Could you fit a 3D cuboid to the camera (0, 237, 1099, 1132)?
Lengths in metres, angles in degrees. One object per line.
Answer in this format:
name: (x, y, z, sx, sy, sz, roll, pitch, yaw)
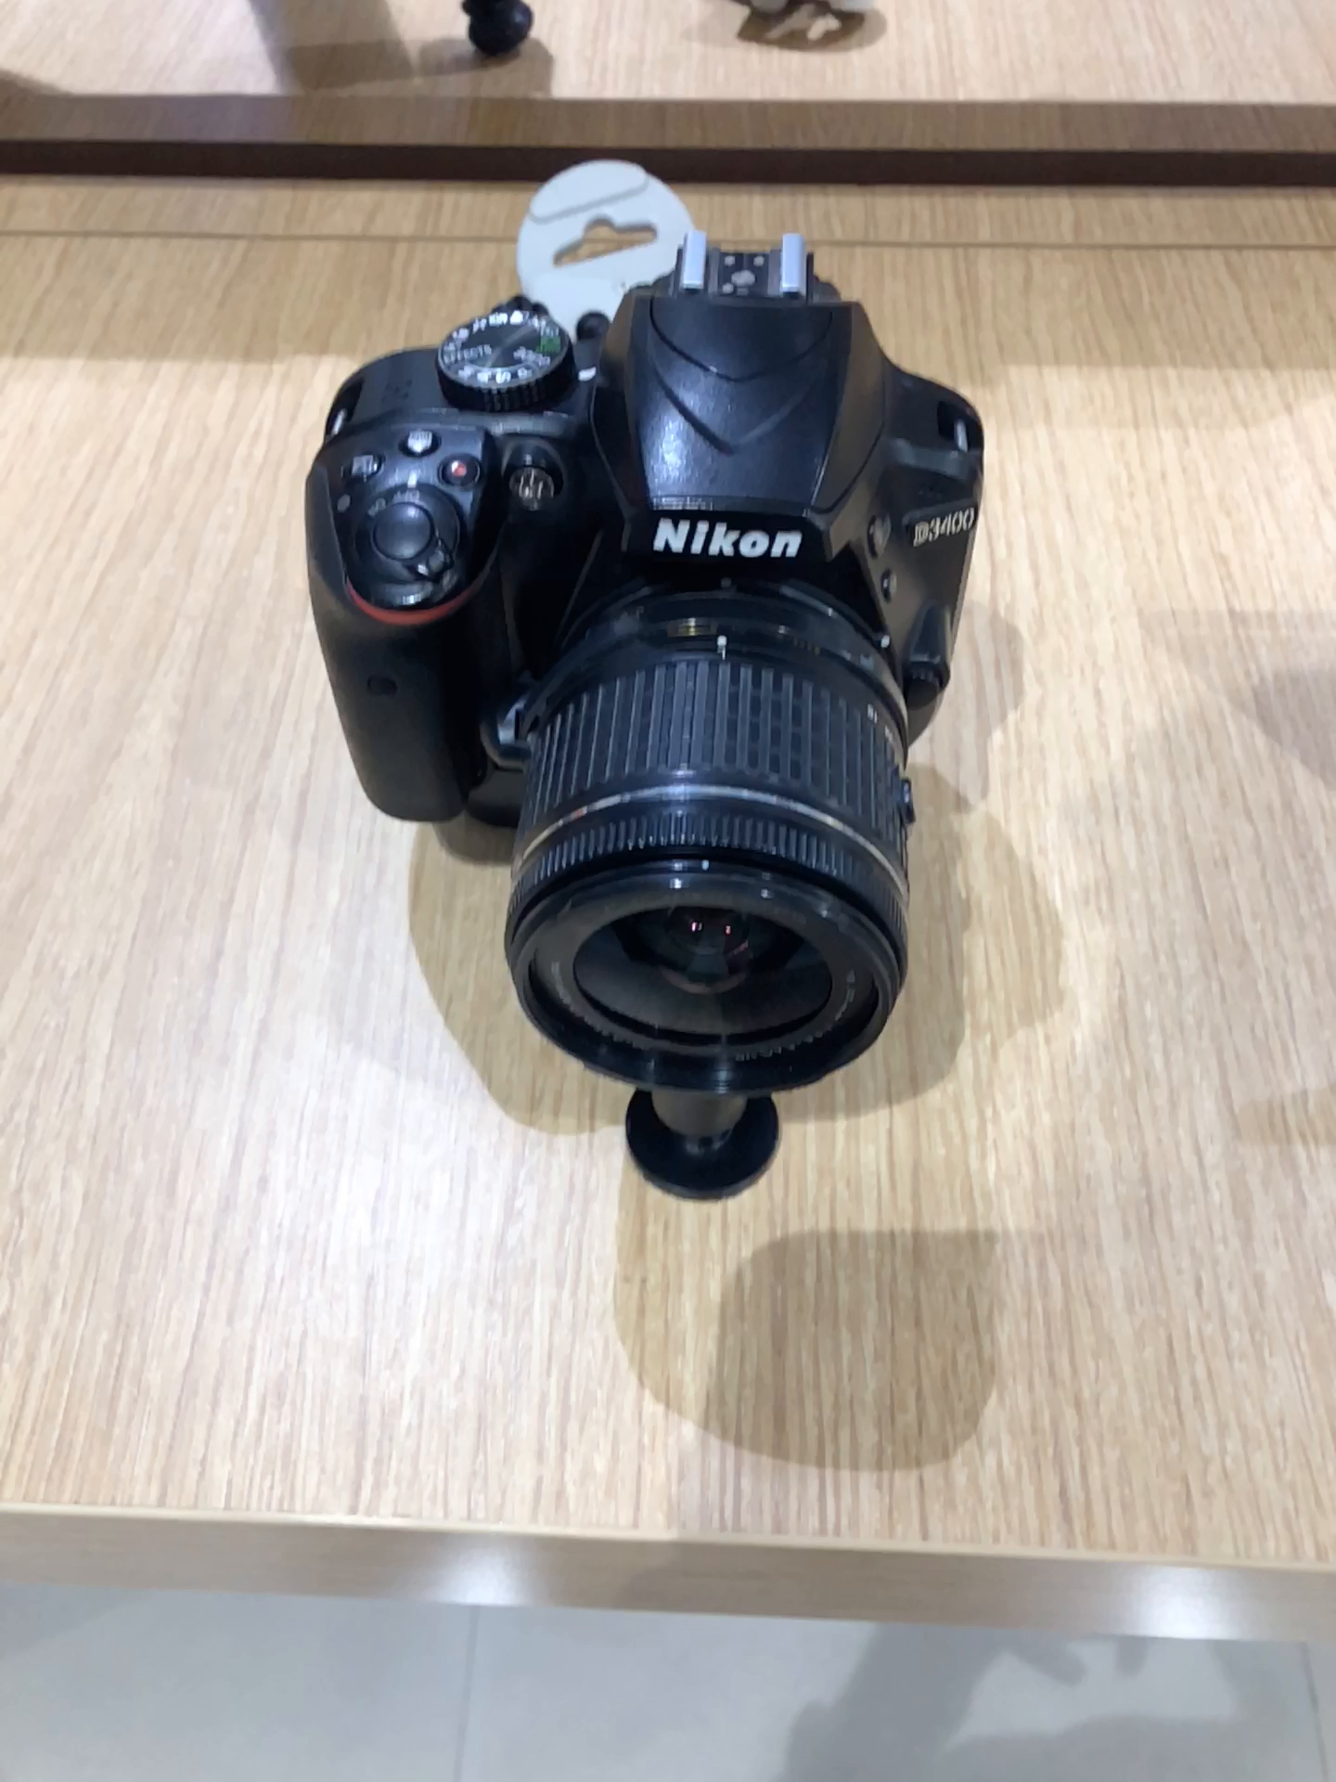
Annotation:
camera: (-0.012, -0.036, 0.248, 0.133, 0.084, 0.121, 2, 53, 2)
